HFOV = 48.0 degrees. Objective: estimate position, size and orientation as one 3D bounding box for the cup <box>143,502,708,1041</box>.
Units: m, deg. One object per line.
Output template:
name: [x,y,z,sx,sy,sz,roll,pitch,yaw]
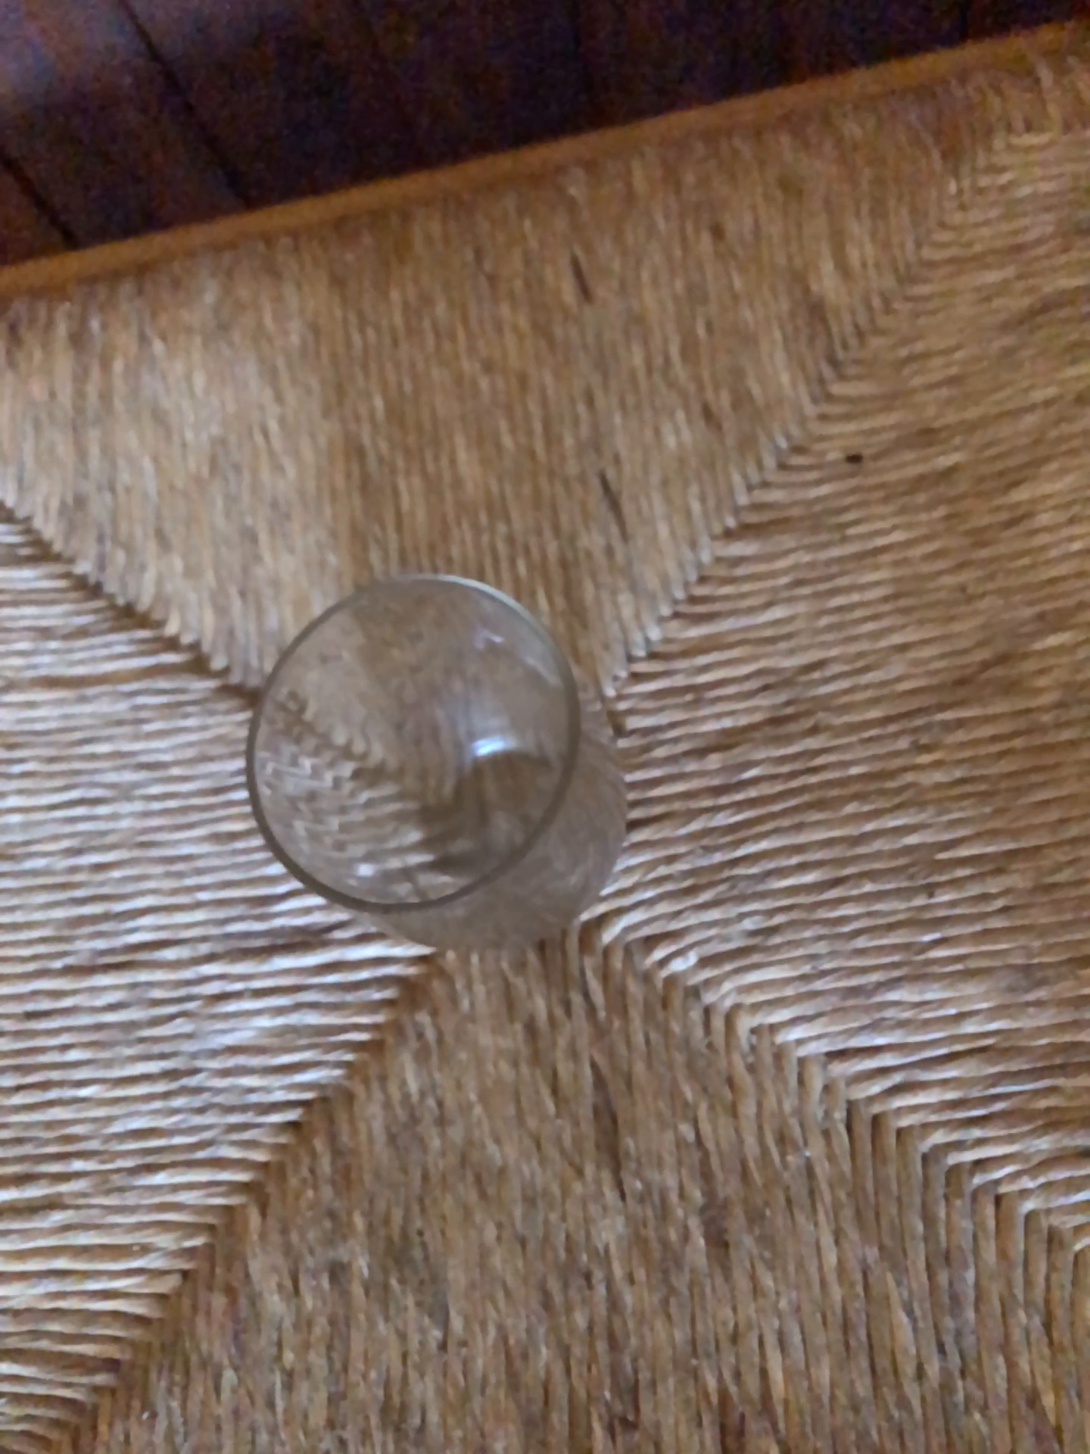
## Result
cup: [-0.016,0.013,0.243,0.070,0.080,0.070,-4,72,11]
